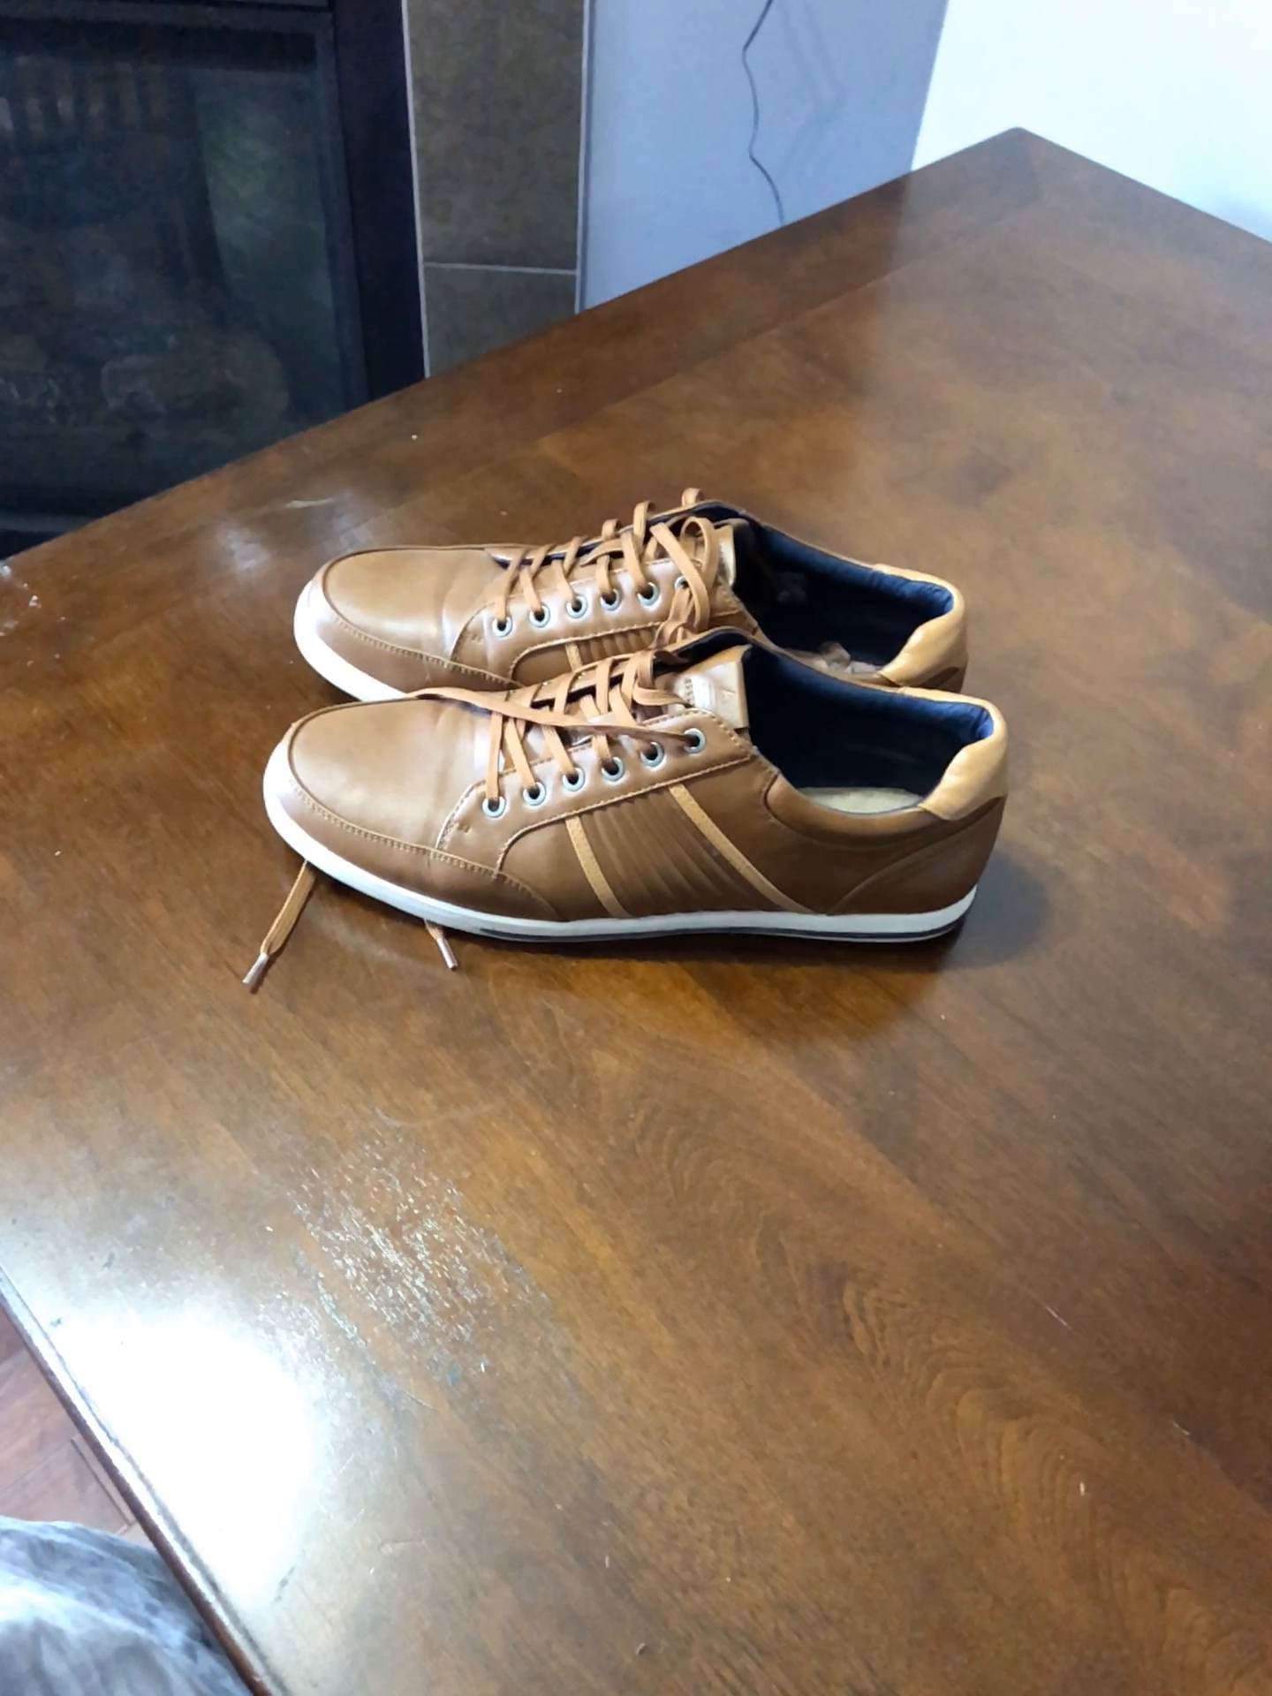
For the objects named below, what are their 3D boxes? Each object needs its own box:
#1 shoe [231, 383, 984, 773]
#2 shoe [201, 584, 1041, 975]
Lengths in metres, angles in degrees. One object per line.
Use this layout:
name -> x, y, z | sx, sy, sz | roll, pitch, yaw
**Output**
shoe -> -0.008, -0.117, 0.604 | 0.290, 0.080, 0.110 | 7, 50, 1
shoe -> -0.005, -0.027, 0.551 | 0.290, 0.080, 0.110 | 4, 50, -2
